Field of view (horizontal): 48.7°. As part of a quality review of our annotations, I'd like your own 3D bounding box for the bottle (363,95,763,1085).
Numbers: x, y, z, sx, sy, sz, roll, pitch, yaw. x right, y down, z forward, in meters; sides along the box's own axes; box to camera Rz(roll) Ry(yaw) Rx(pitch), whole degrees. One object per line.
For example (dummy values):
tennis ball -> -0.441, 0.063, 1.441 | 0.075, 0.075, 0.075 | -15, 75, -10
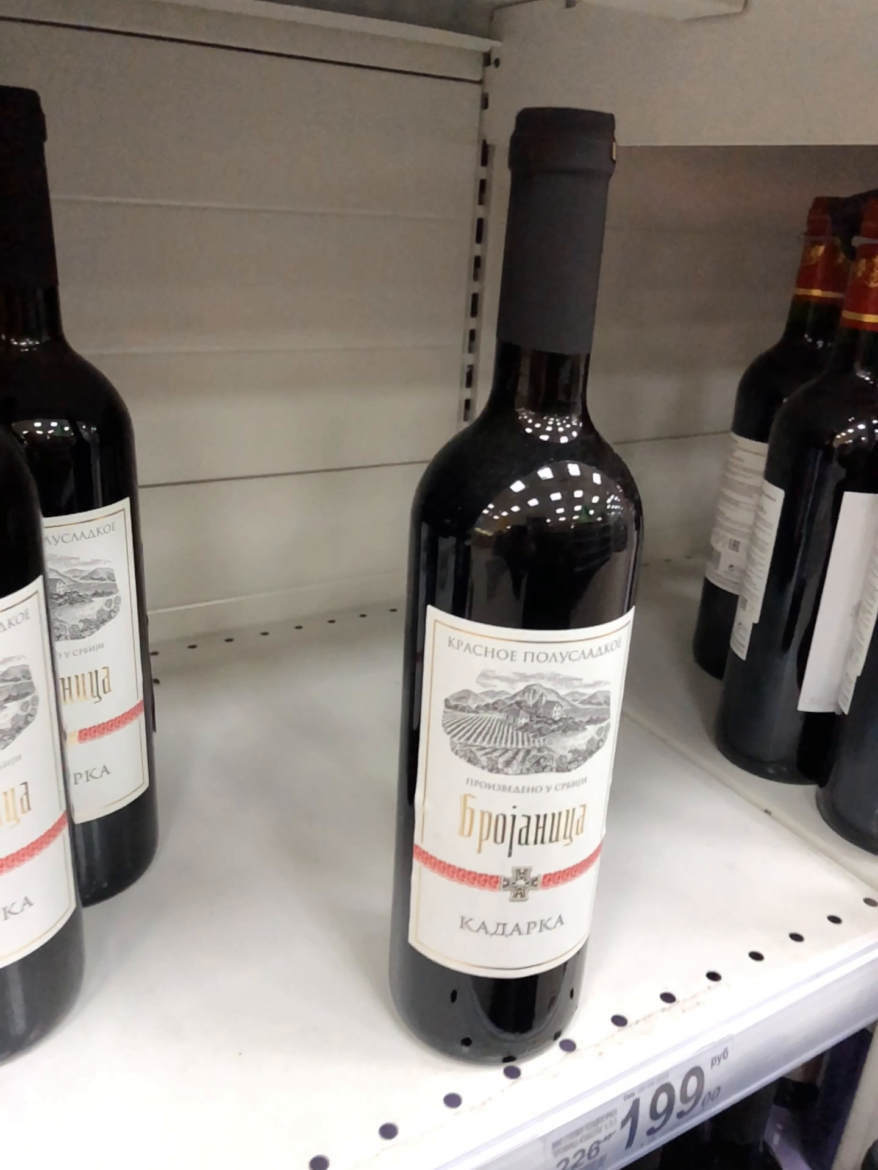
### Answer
bottle -> 0.023, 0.015, 0.321 | 0.080, 0.308, 0.080 | 3, 22, -1
